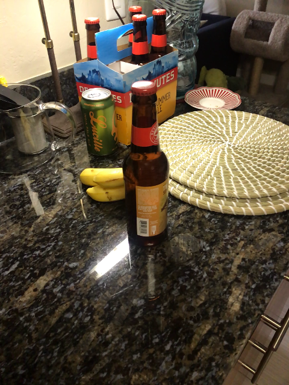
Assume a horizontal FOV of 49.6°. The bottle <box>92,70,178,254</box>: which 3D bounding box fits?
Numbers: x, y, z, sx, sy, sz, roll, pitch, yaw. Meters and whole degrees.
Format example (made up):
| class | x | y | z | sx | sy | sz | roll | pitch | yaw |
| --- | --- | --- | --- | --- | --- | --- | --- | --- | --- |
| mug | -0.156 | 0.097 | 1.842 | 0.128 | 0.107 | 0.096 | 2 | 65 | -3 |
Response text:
| class | x | y | z | sx | sy | sz | roll | pitch | yaw |
| --- | --- | --- | --- | --- | --- | --- | --- | --- | --- |
| bottle | -0.008 | -0.026 | 0.361 | 0.060 | 0.199 | 0.060 | 0 | 39 | 0 |
